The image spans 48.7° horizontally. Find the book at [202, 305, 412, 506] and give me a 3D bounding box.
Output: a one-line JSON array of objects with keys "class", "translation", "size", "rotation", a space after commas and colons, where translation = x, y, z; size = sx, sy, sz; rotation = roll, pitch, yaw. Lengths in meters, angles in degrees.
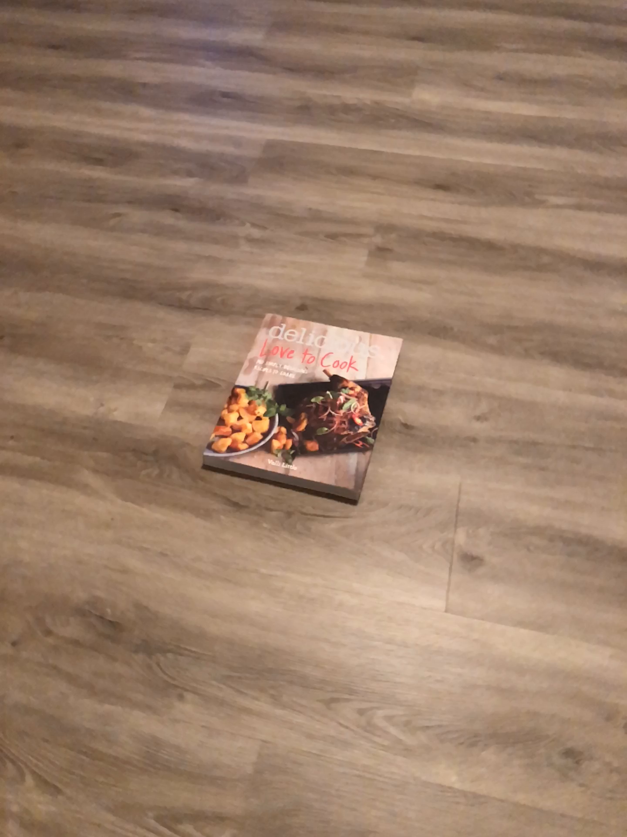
[{"class": "book", "translation": [0.000, -0.032, 0.987], "size": [0.222, 0.030, 0.290], "rotation": [13, 55, 11]}]
